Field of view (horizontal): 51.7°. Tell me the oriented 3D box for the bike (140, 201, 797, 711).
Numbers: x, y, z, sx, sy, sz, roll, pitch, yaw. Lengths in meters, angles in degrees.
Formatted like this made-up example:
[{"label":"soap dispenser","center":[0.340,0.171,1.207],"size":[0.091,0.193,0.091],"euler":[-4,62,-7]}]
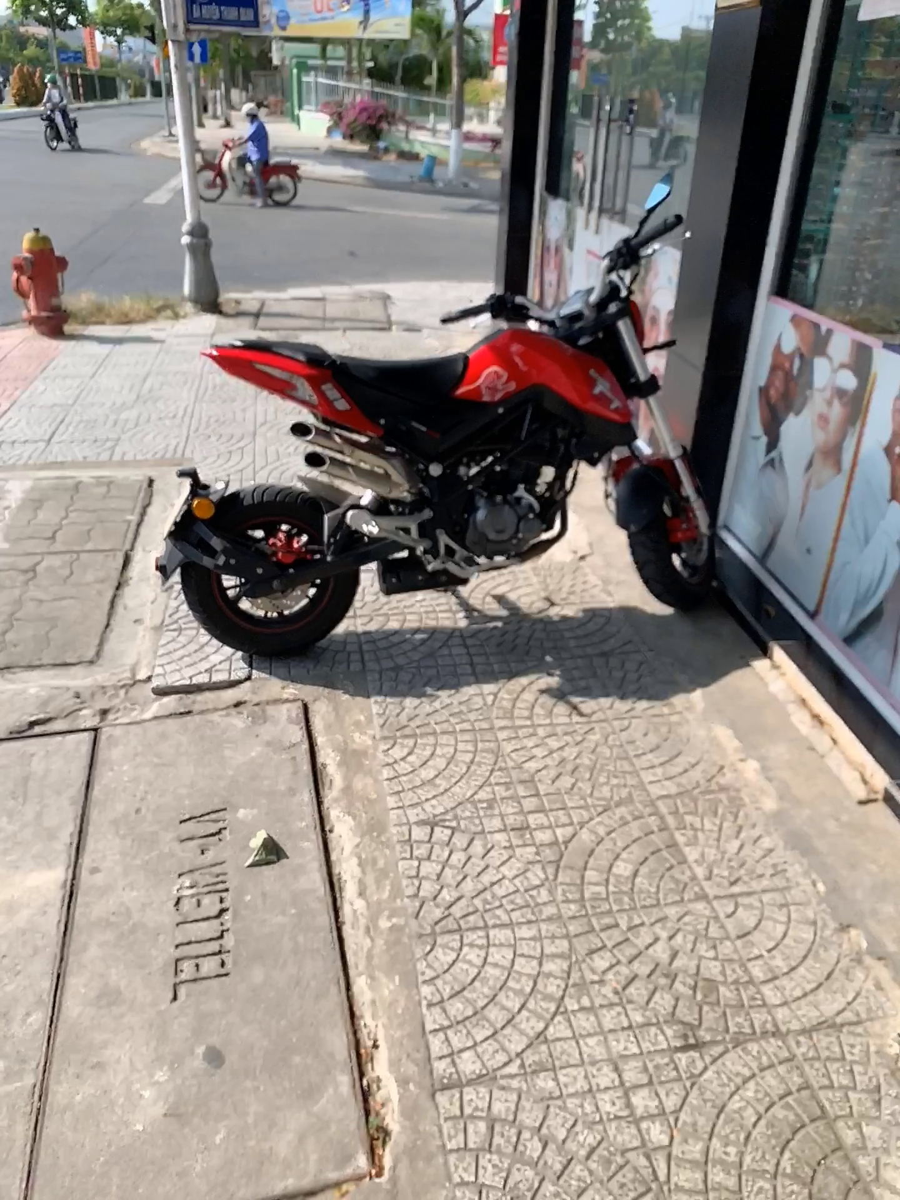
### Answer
[{"label":"bike","center":[0.111,-0.650,3.156],"size":[2.122,1.216,0.835],"euler":[-13,31,-27]}]
